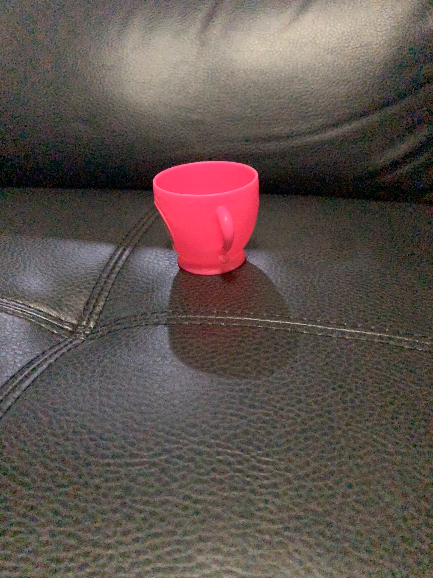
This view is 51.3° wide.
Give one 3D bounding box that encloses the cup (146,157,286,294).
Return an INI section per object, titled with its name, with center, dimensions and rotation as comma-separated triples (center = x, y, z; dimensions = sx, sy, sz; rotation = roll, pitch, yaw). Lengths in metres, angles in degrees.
[cup]
center = -0.003, -0.039, 0.253
dimensions = 0.061, 0.047, 0.074
rotation = -8, 29, -9
